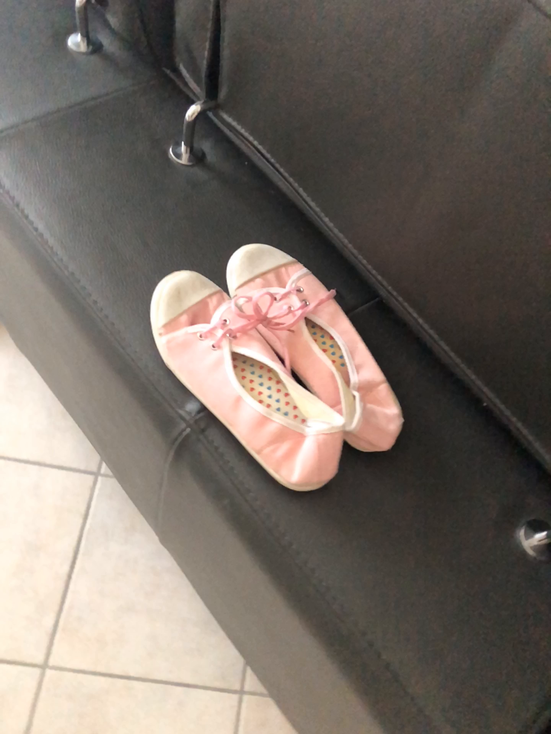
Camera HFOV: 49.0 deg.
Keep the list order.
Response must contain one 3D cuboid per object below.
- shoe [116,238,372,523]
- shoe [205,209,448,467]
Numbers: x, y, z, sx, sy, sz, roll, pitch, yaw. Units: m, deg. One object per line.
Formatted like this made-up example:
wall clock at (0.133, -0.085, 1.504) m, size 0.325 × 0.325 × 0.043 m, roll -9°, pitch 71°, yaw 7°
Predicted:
shoe at (-0.032, 0.004, 0.518) m, size 0.090 × 0.040 × 0.240 m, roll -31°, pitch 74°, yaw -25°
shoe at (0.042, -0.034, 0.561) m, size 0.090 × 0.040 × 0.240 m, roll -31°, pitch 74°, yaw -25°
